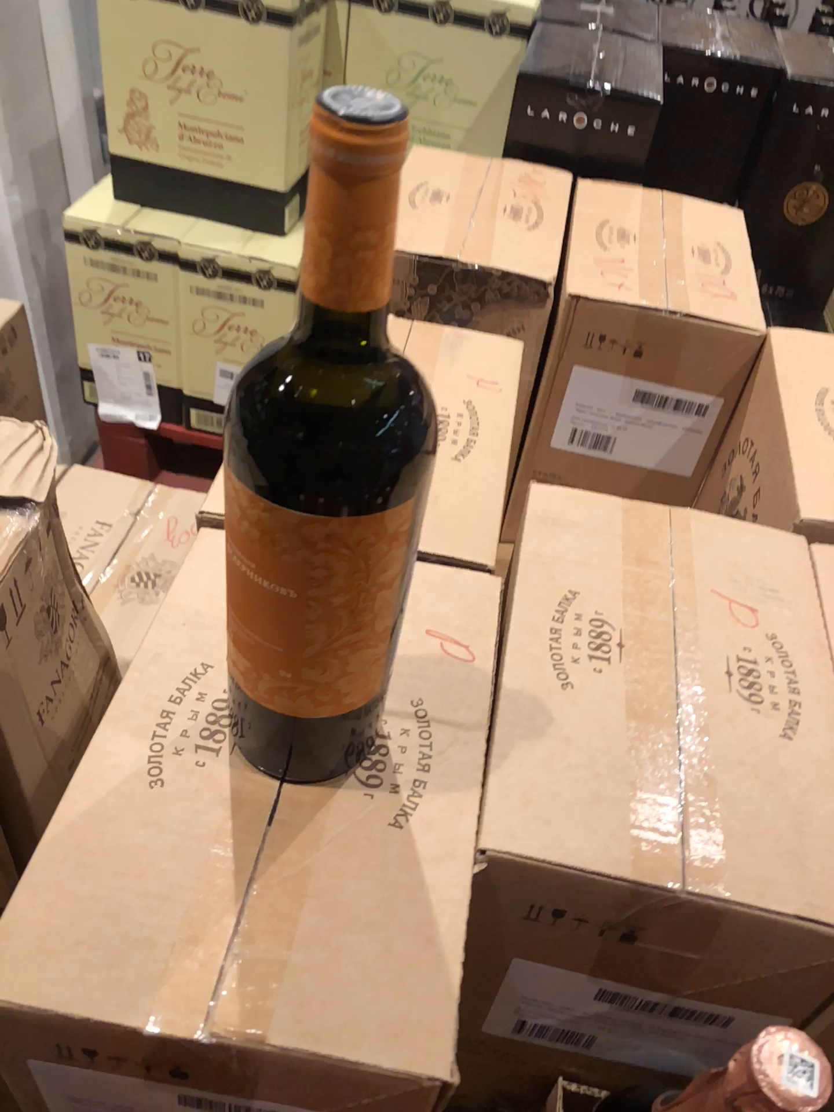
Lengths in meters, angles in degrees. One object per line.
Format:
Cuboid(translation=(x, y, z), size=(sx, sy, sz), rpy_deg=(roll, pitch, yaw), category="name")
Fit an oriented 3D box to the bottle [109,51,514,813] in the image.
Cuboid(translation=(-0.039, -0.026, 0.359), size=(0.090, 0.278, 0.091), rpy_deg=(4, 43, -4), category="bottle")
